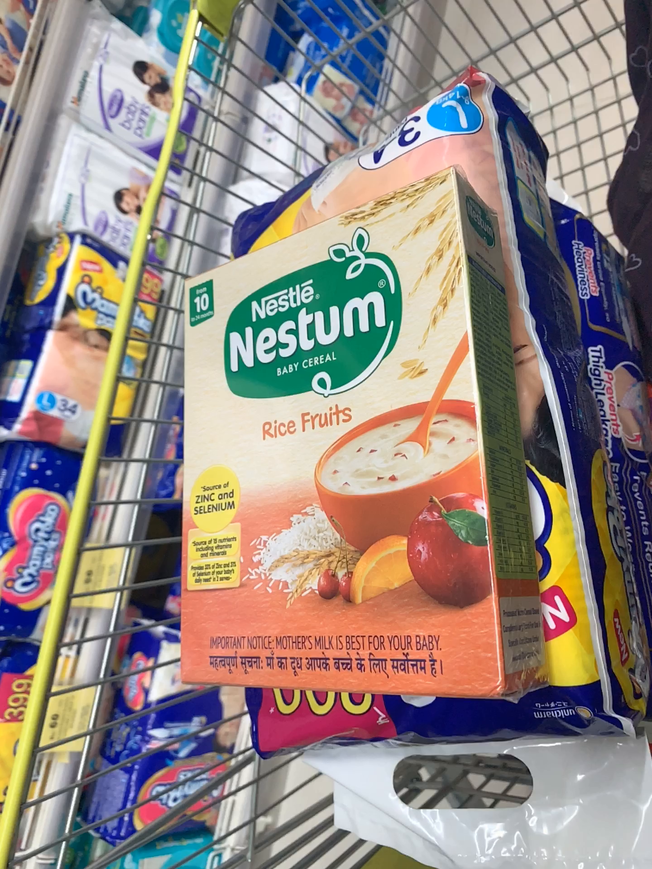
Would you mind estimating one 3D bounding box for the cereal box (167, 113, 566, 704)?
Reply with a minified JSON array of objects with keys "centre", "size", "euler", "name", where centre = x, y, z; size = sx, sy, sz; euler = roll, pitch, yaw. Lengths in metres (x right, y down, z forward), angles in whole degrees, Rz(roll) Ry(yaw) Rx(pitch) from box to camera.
[{"centre":[0.004,-0.002,0.297],"size":[0.161,0.050,0.210],"euler":[-12,74,35],"name":"cereal box"}]
